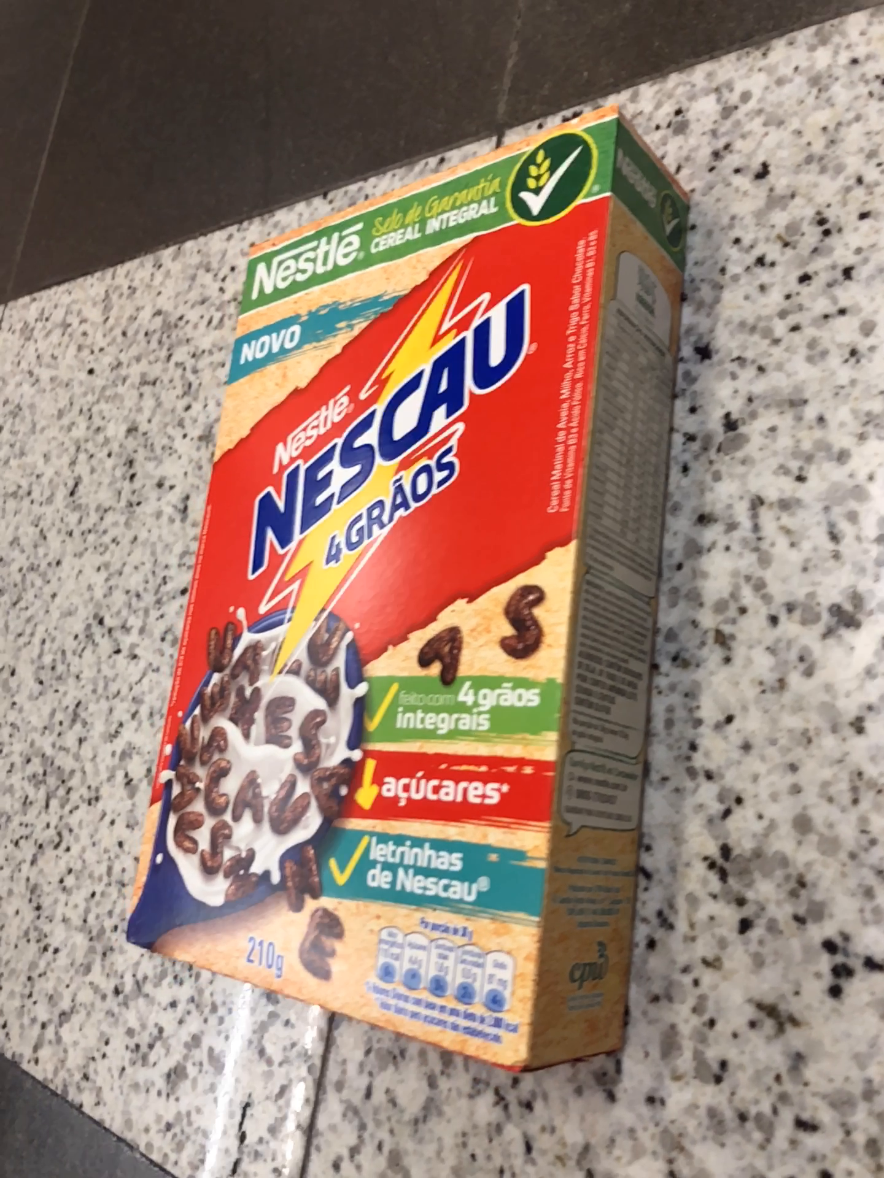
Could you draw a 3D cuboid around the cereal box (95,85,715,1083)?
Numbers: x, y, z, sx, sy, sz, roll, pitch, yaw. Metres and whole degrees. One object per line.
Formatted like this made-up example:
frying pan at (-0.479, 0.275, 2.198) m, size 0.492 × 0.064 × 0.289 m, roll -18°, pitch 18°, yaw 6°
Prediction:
cereal box at (-0.015, -0.005, 0.301) m, size 0.171 × 0.050 × 0.240 m, roll -3°, pitch 74°, yaw 39°
